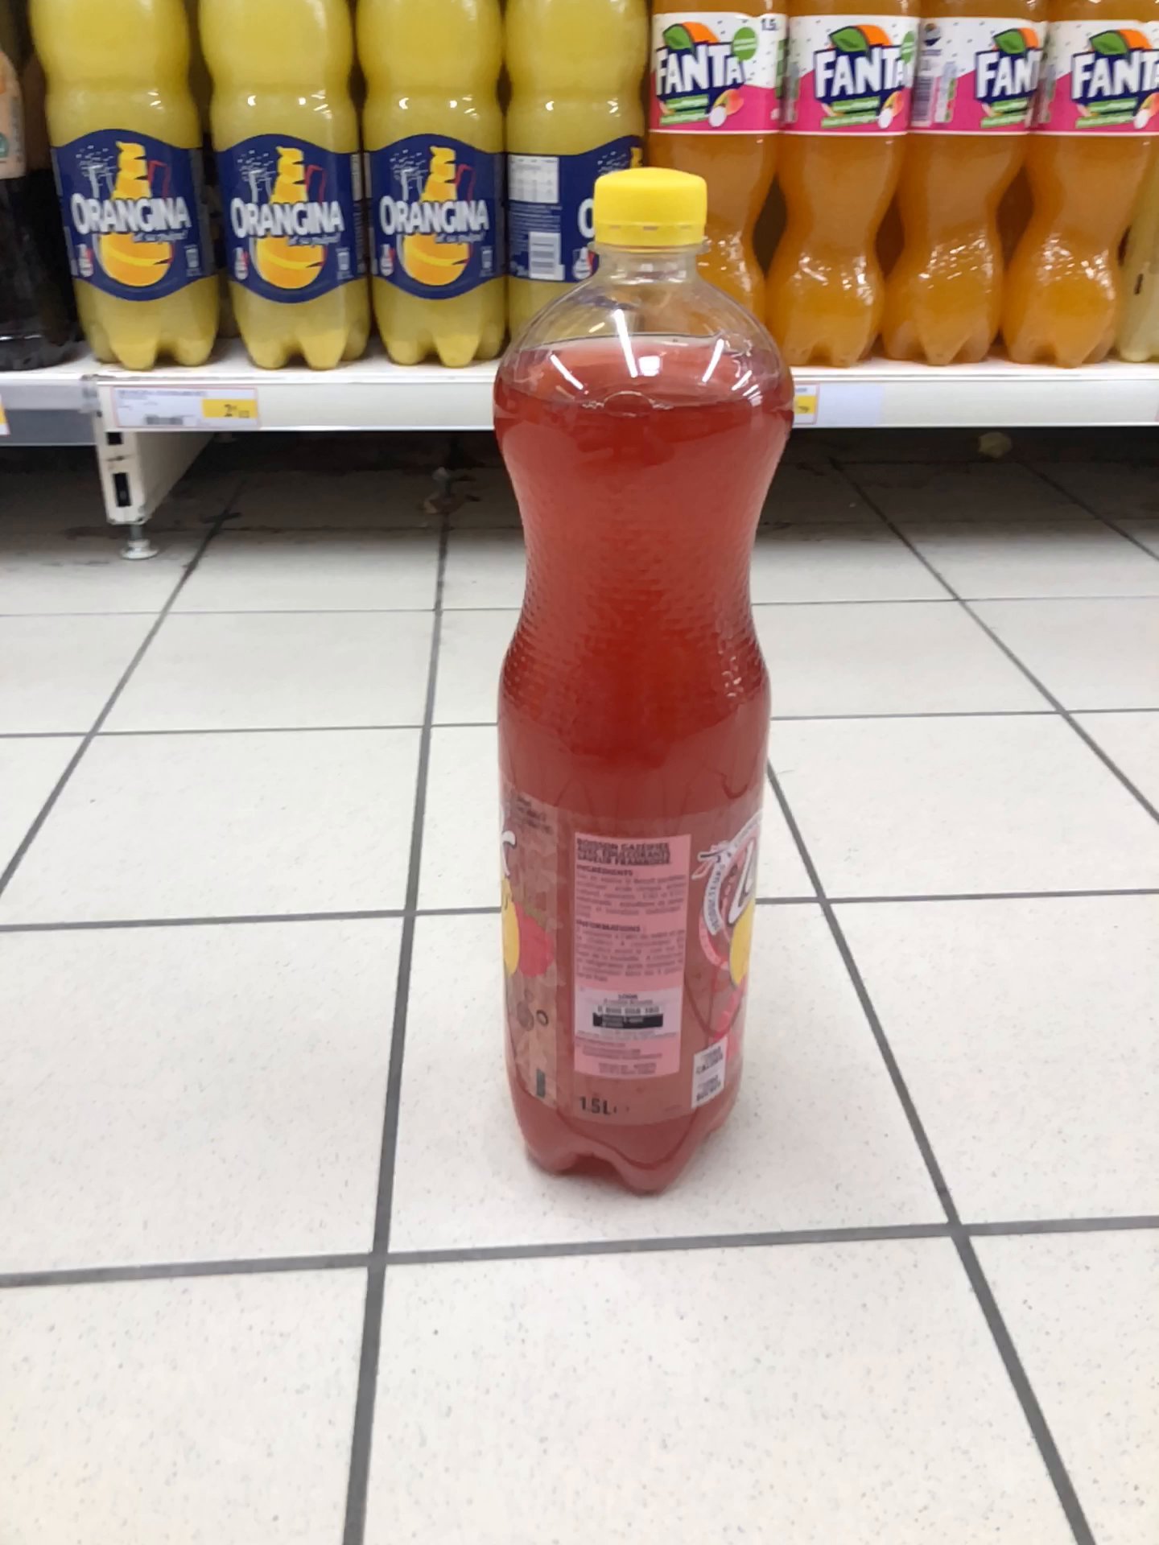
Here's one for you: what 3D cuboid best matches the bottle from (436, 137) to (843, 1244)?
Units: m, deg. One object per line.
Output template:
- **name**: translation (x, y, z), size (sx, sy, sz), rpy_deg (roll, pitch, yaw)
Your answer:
- **bottle**: translation (0.019, -0.016, 0.402), size (0.090, 0.328, 0.101), rpy_deg (6, 28, 10)
